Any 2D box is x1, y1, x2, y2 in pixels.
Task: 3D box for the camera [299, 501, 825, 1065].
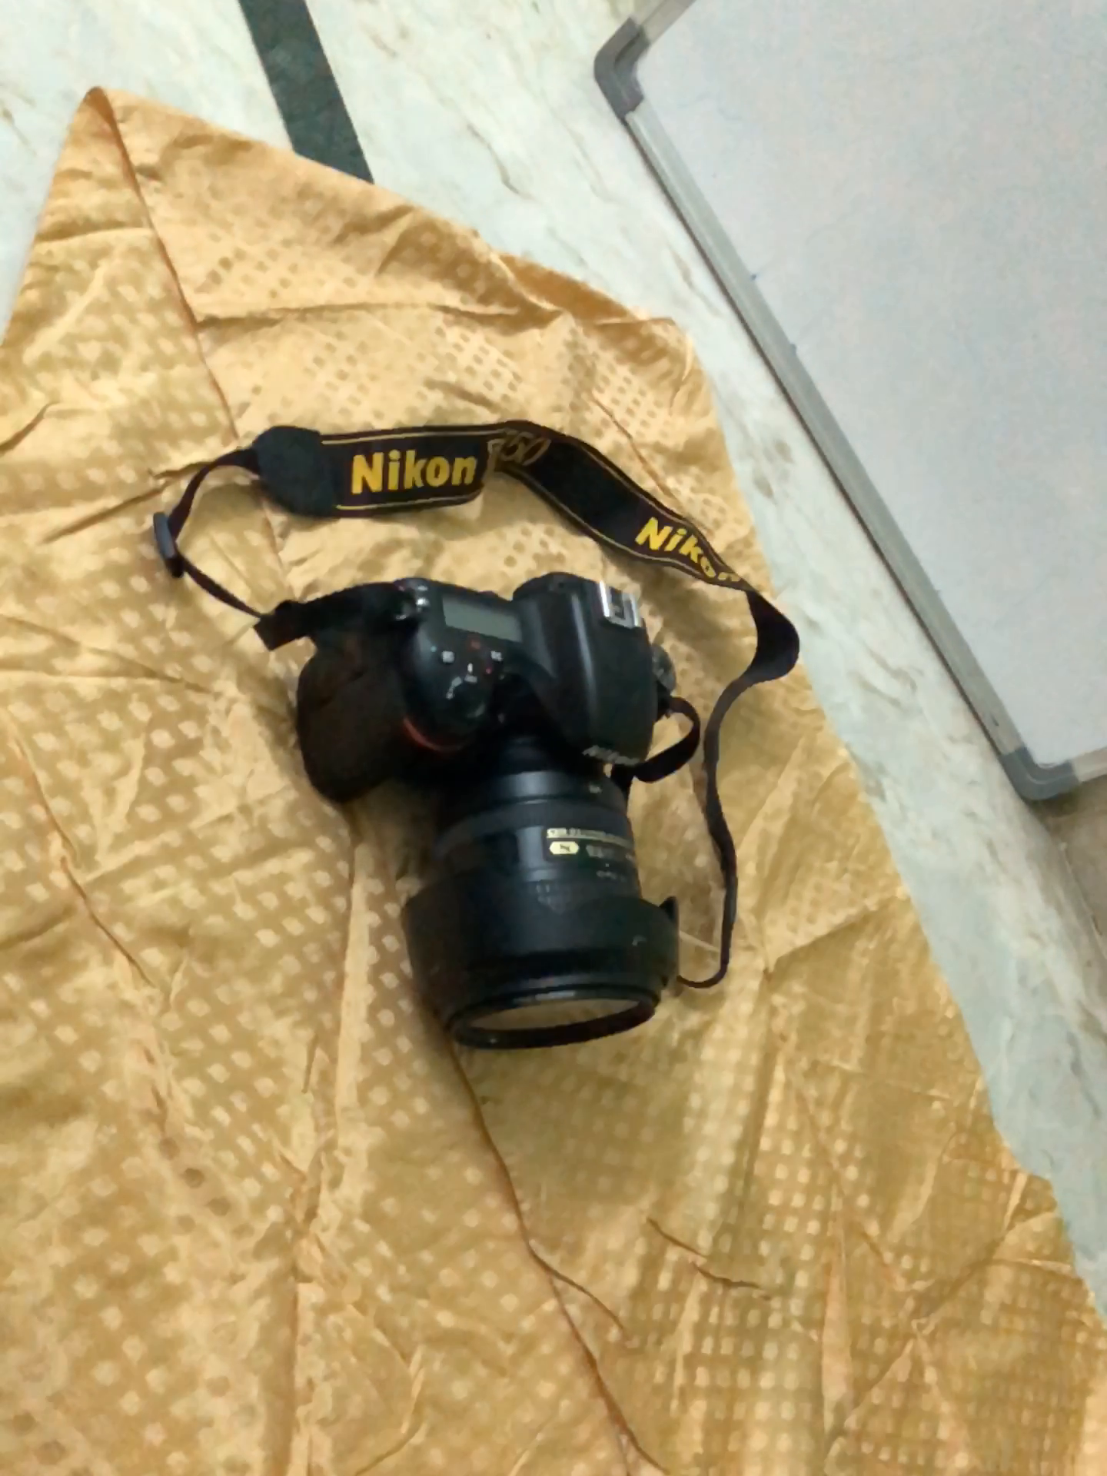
[{"bbox_3d":[-0.001,0.028,0.463,0.149,0.109,0.170,11,64,-39],"label":"camera"}]
